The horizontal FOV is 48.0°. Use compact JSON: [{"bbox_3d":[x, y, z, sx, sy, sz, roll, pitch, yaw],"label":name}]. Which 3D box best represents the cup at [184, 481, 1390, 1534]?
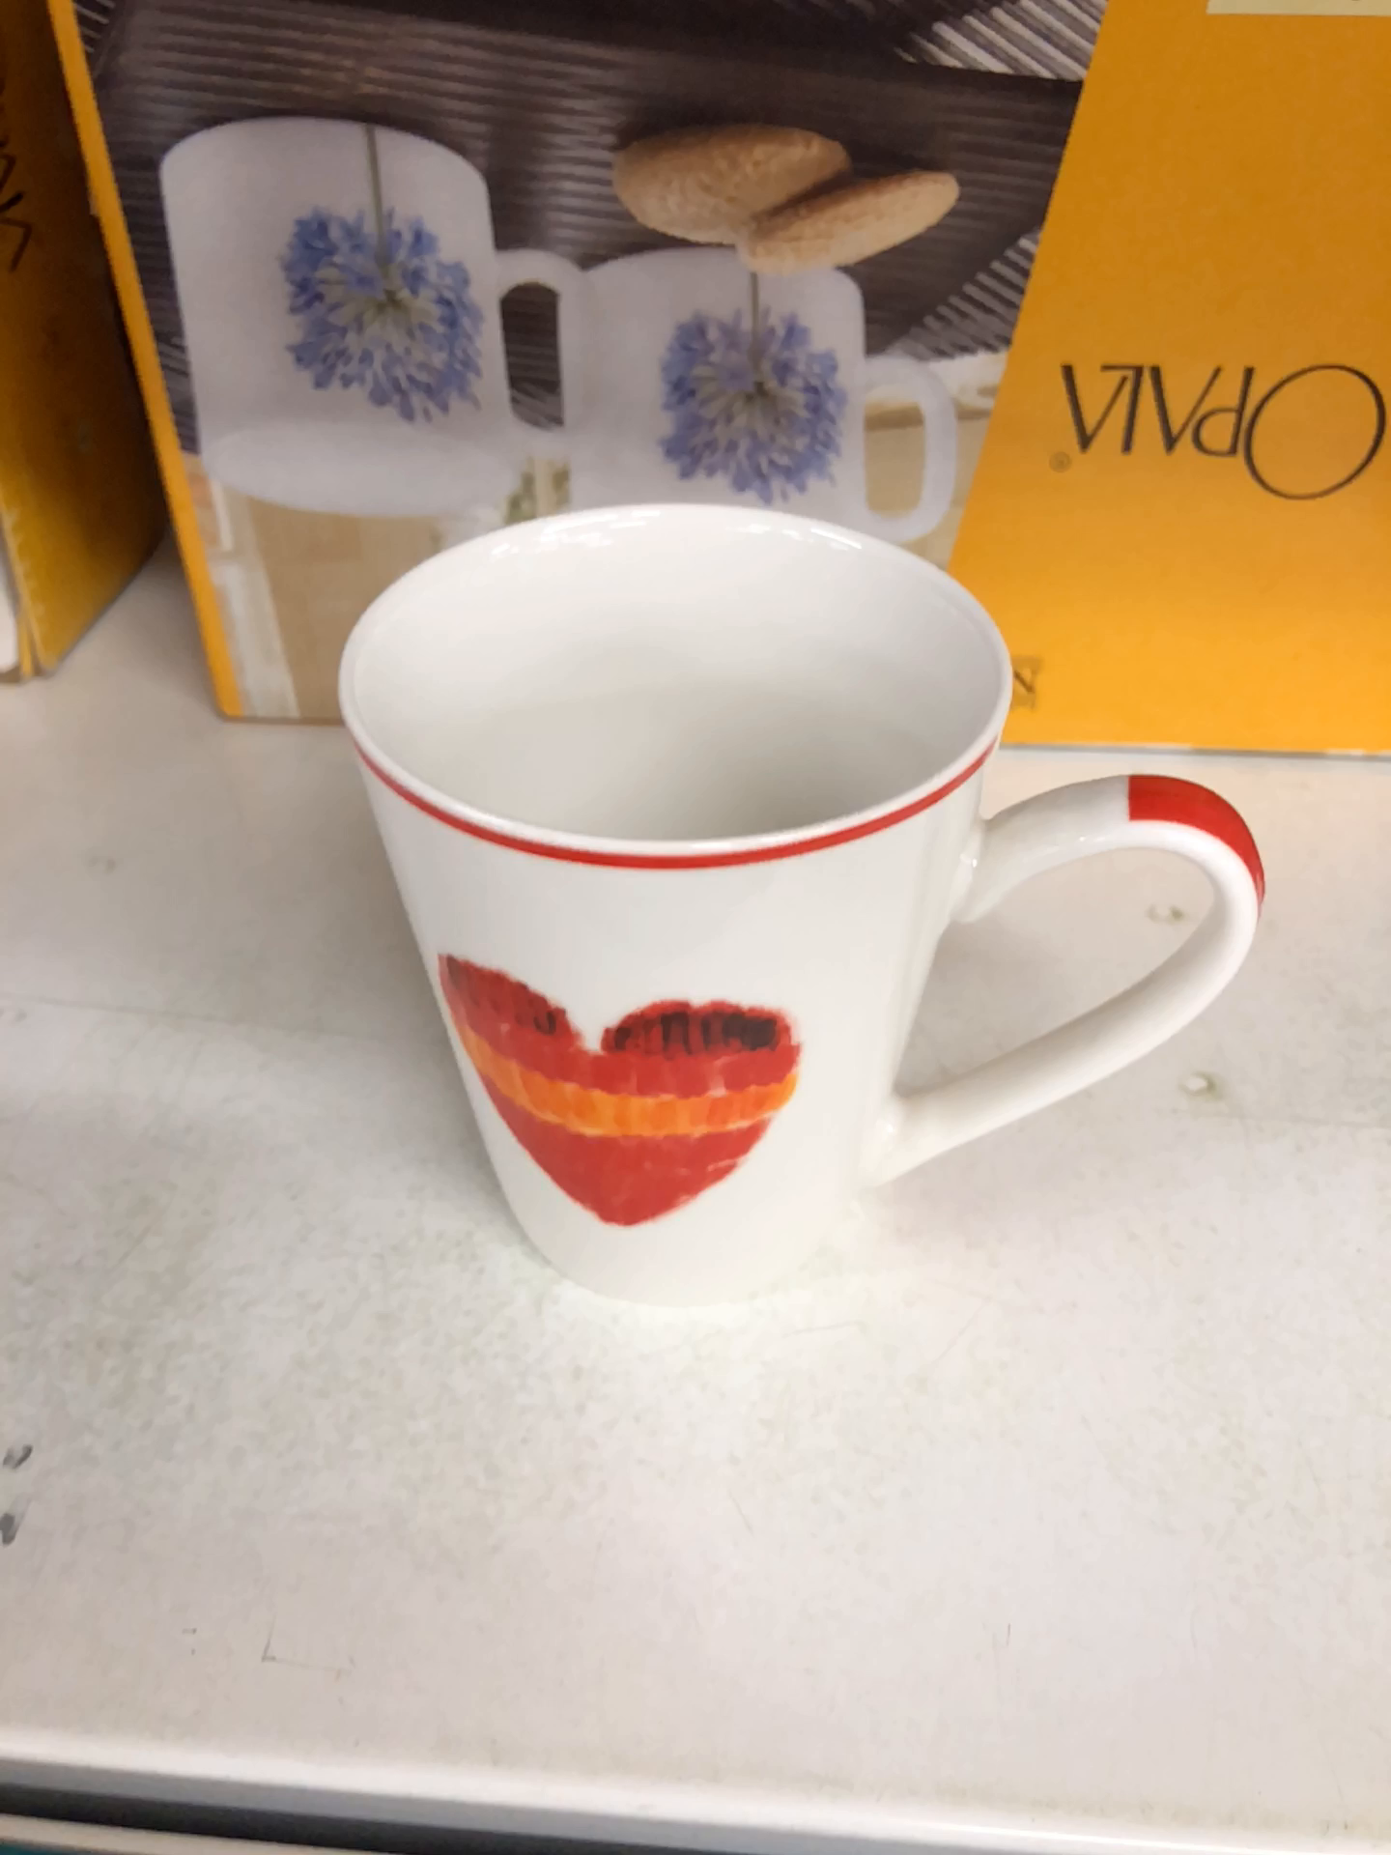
[{"bbox_3d":[0.015,0.008,0.210,0.120,0.099,0.081,6,40,8],"label":"cup"}]
